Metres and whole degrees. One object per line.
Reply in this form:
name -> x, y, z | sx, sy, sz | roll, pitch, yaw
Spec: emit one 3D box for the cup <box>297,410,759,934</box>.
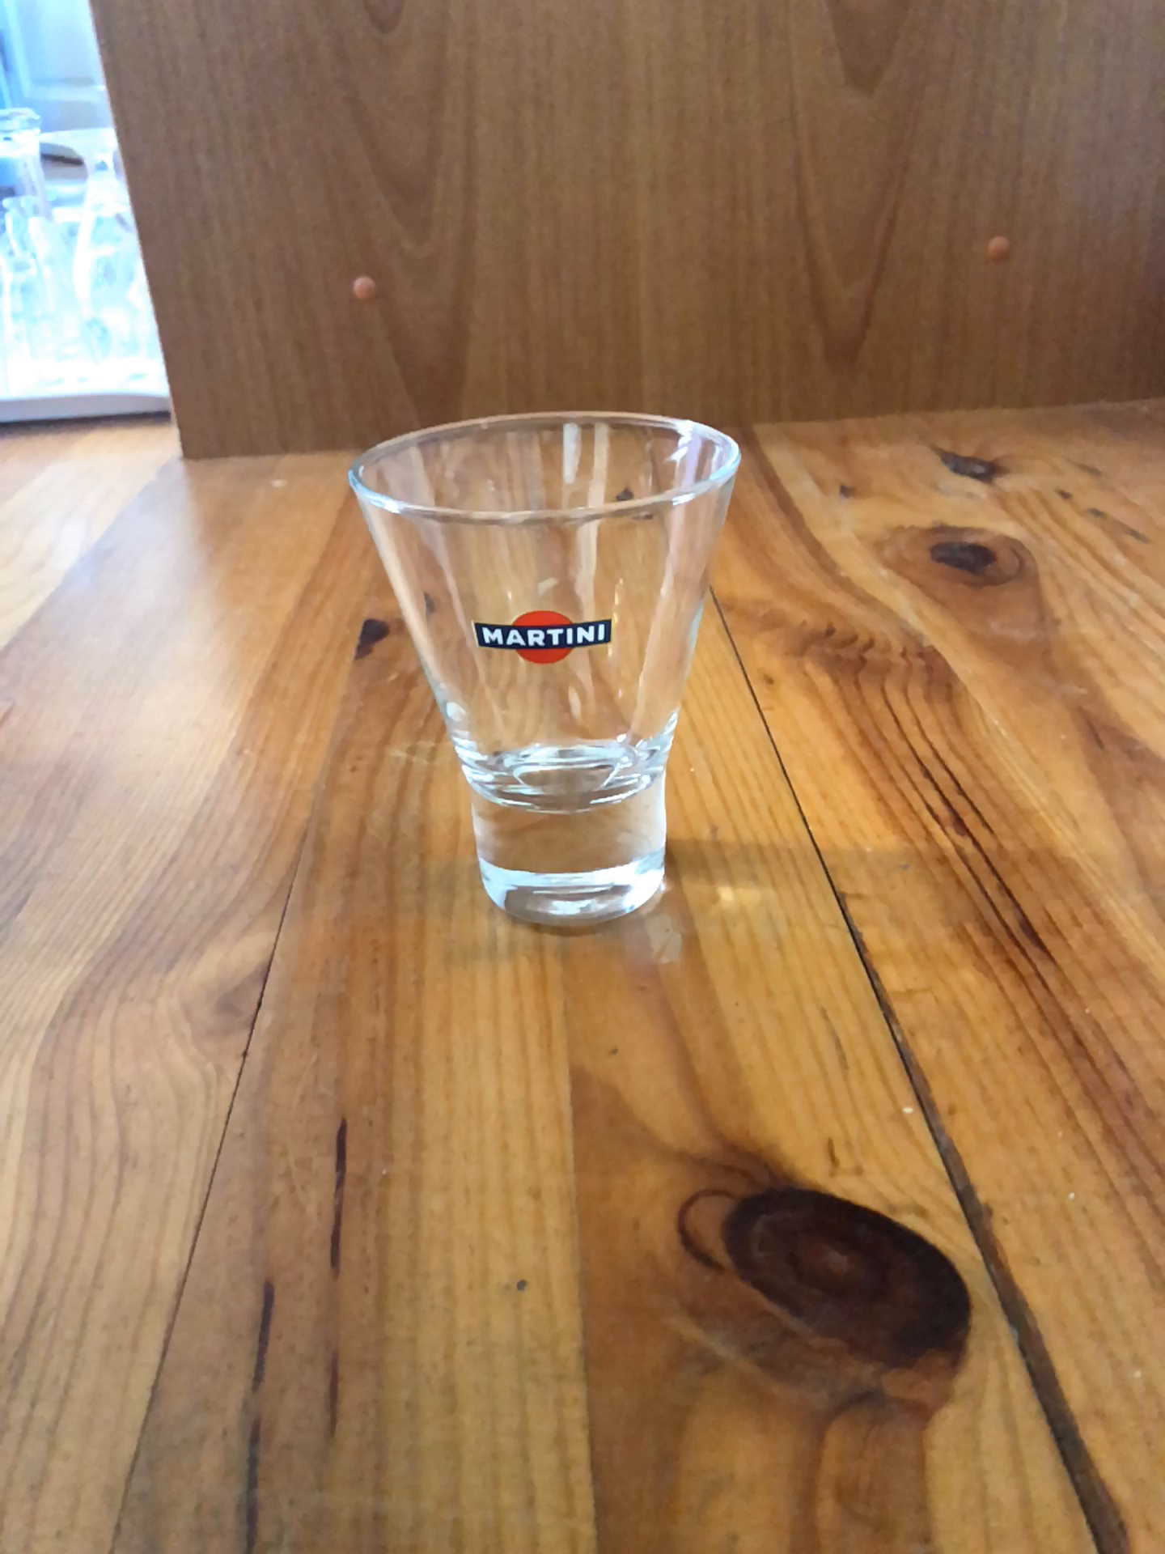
cup -> -0.005, -0.029, 0.313 | 0.091, 0.097, 0.089 | -2, 29, 1
